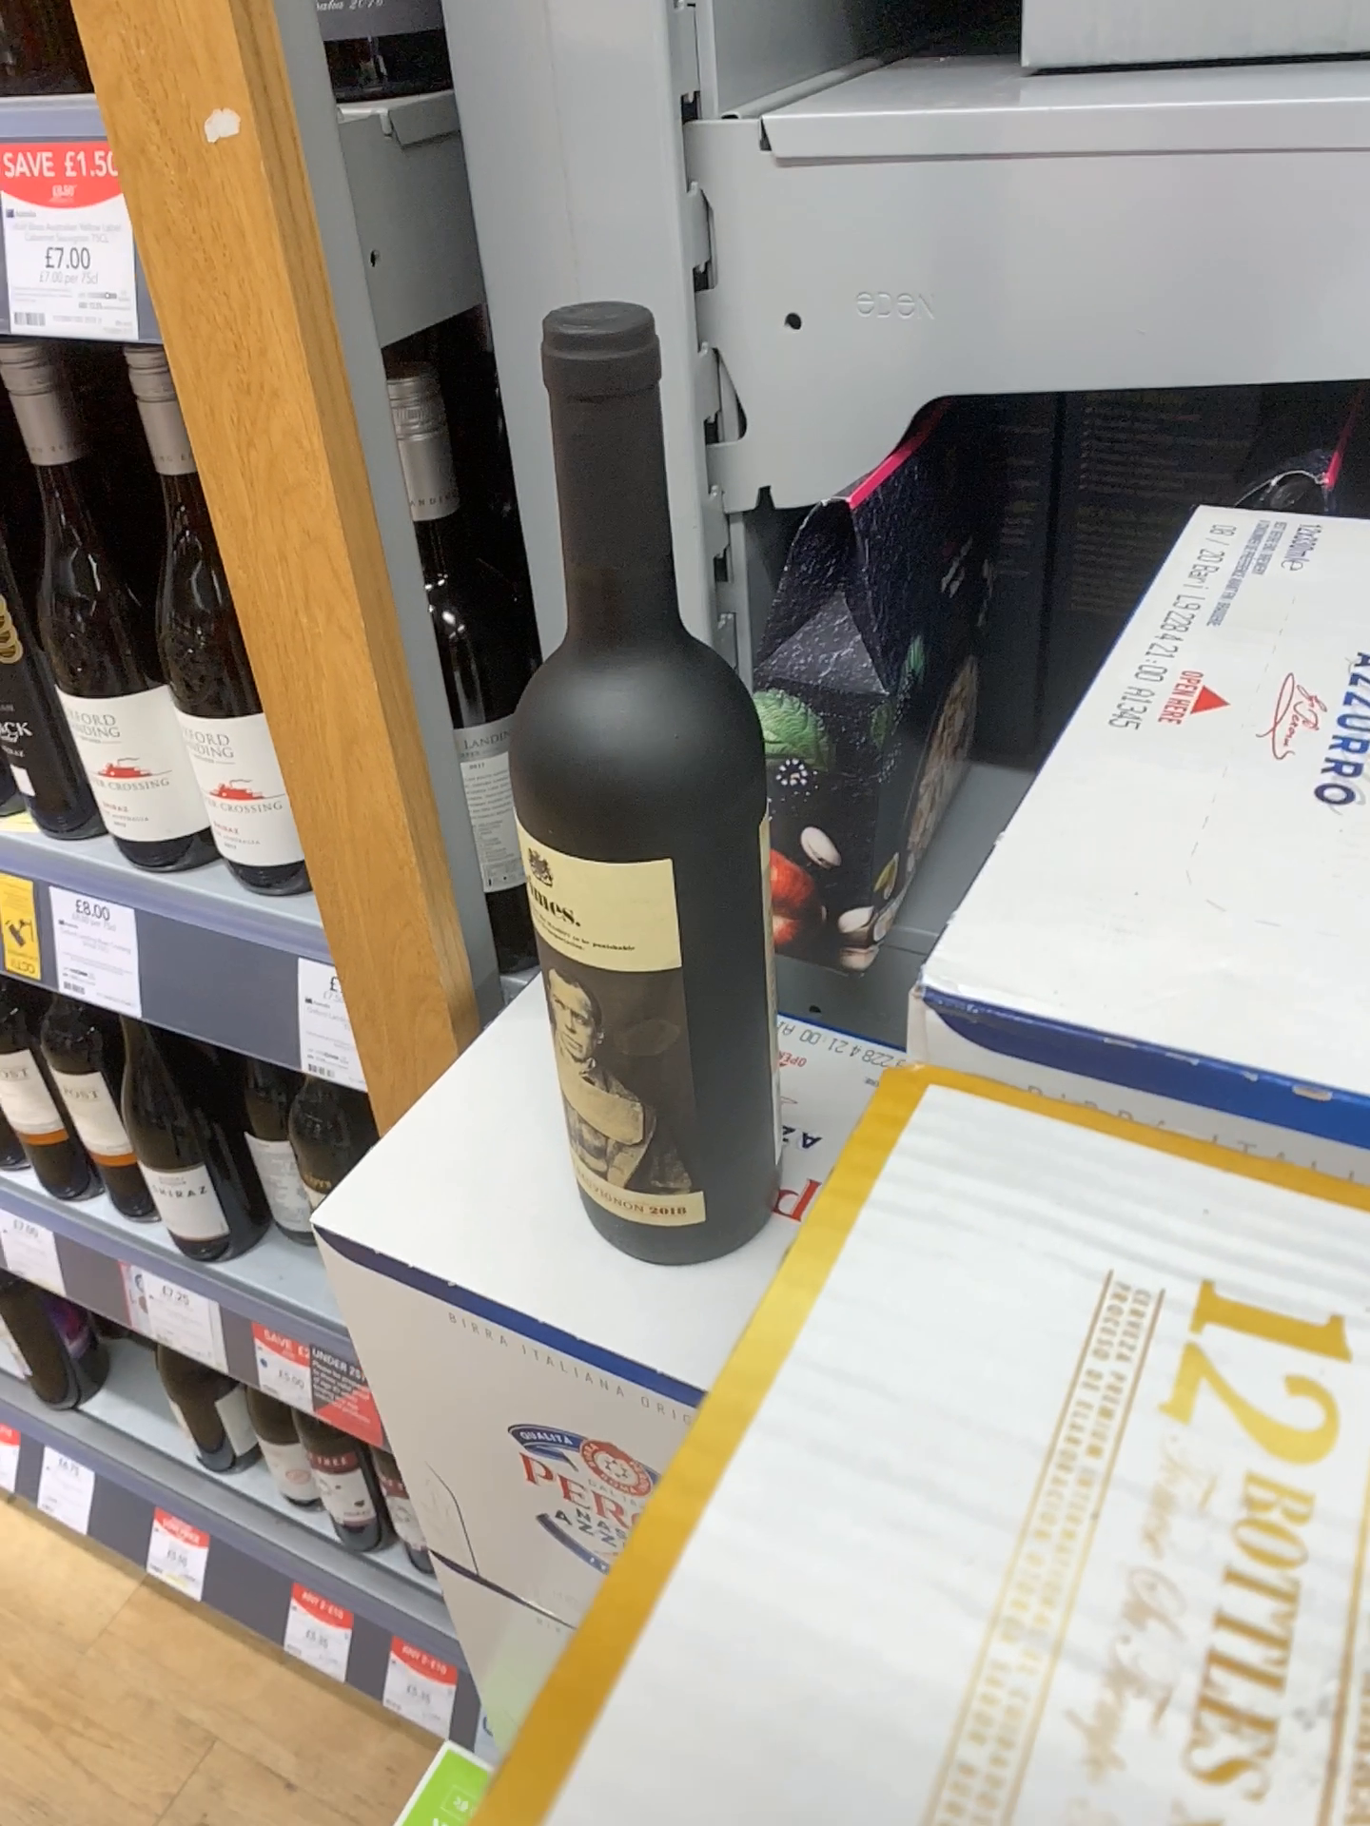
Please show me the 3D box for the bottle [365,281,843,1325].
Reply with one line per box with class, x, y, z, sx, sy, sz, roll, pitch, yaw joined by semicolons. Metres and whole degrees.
bottle;-0.010;-0.017;0.409;0.075;0.288;0.079;-4;36;3
